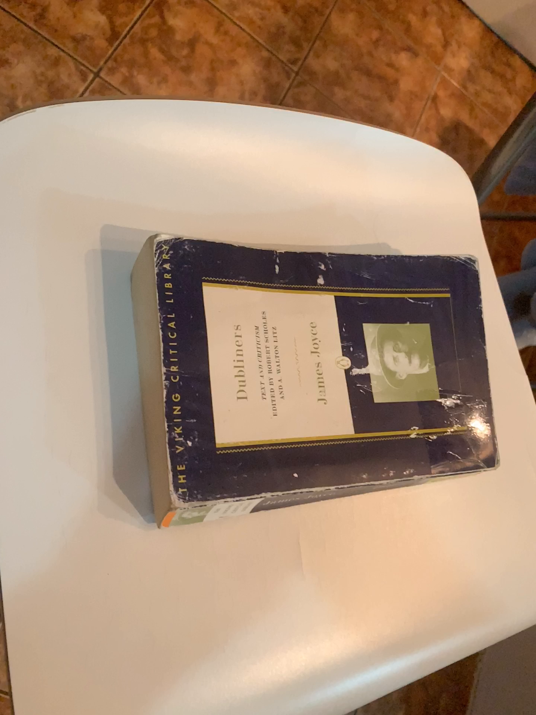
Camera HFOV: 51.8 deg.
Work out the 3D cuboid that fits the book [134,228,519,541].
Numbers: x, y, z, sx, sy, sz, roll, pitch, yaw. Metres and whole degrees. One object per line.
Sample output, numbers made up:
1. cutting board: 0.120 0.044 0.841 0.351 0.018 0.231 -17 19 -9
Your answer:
1. book: 0.037 0.009 0.290 0.198 0.035 0.132 -2 79 -27
